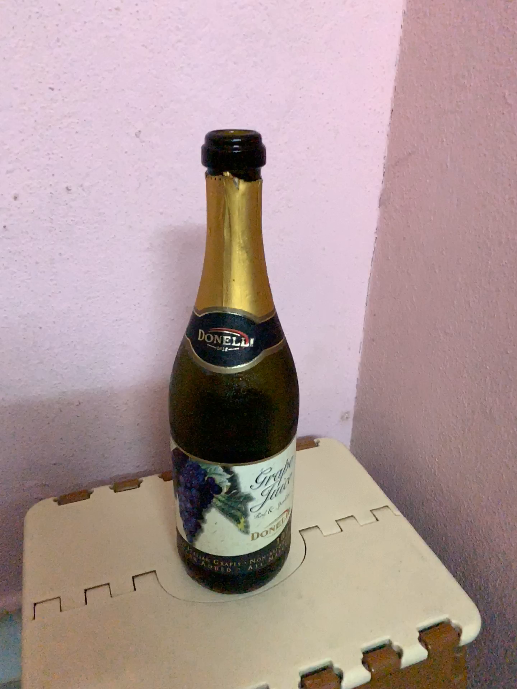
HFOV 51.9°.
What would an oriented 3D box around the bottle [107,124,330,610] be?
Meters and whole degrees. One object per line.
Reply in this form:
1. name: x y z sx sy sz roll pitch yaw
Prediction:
1. bottle: -0.017 0.025 0.314 0.090 0.279 0.070 6 27 10
